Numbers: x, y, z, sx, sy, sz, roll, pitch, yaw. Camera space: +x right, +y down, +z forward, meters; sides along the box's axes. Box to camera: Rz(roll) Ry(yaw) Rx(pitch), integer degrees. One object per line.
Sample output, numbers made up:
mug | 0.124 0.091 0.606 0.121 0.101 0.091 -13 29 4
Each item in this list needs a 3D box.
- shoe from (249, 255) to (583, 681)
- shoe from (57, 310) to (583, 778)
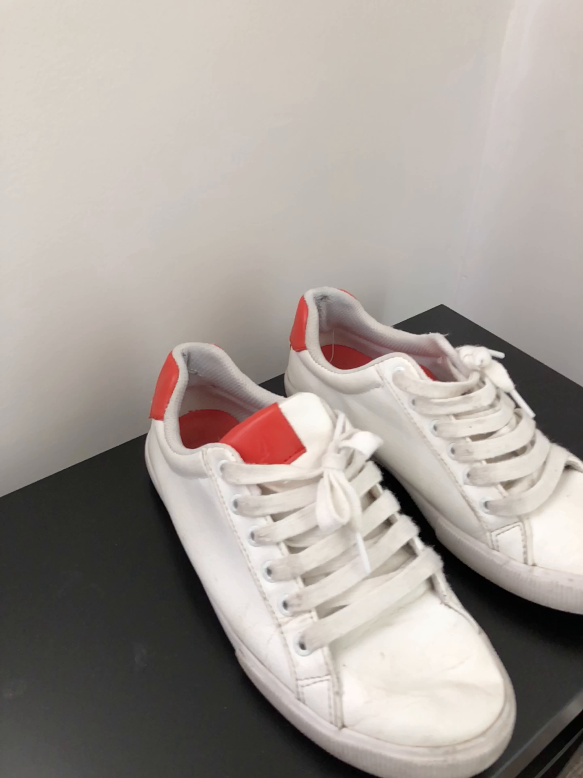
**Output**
shoe | 0.087 0.020 0.348 0.100 0.080 0.231 -27 47 -32
shoe | 0.004 0.065 0.284 0.102 0.080 0.236 -27 47 -32
